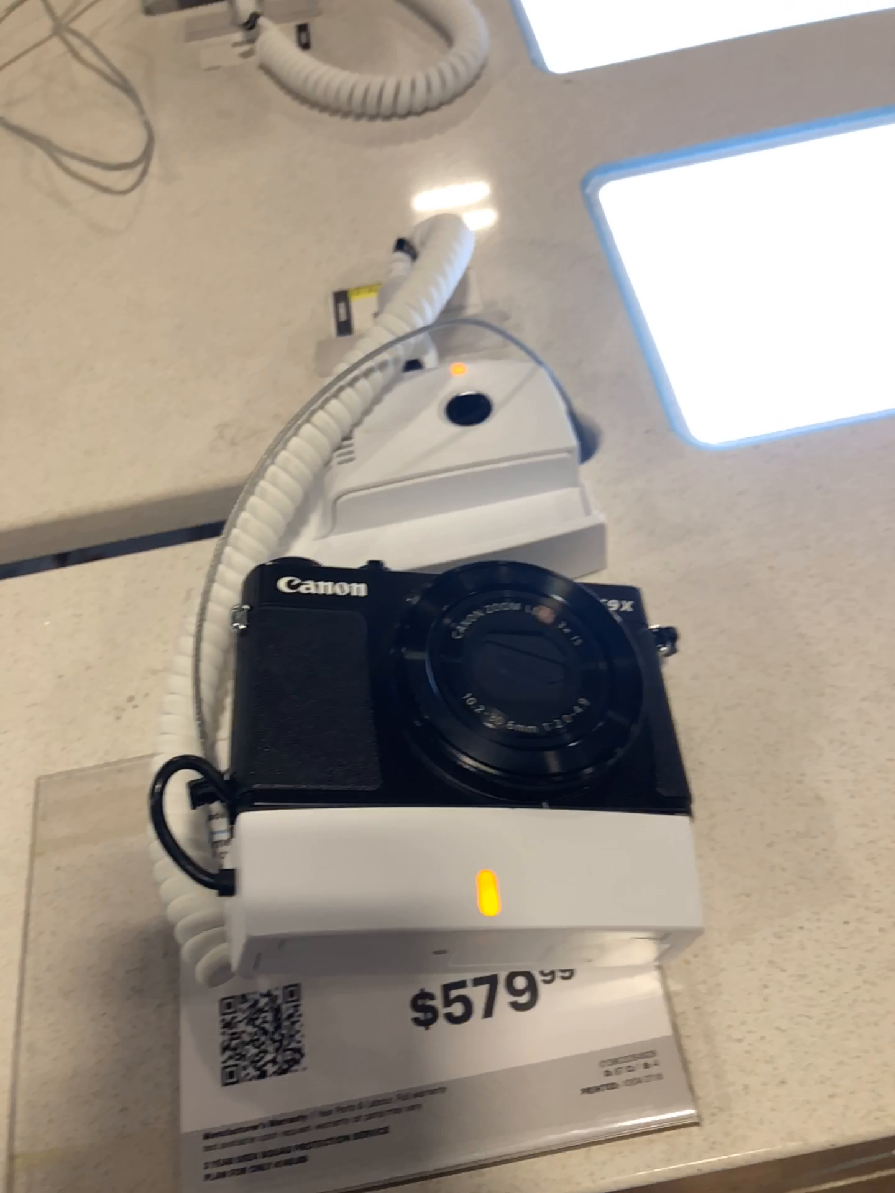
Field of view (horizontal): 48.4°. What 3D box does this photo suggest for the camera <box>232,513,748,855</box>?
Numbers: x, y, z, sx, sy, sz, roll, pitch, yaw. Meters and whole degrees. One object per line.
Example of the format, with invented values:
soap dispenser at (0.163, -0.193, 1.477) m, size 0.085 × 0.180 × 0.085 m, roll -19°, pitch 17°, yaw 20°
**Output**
camera at (0.006, 0.019, 0.216) m, size 0.100 × 0.020 × 0.070 m, roll 3°, pitch 53°, yaw -13°
